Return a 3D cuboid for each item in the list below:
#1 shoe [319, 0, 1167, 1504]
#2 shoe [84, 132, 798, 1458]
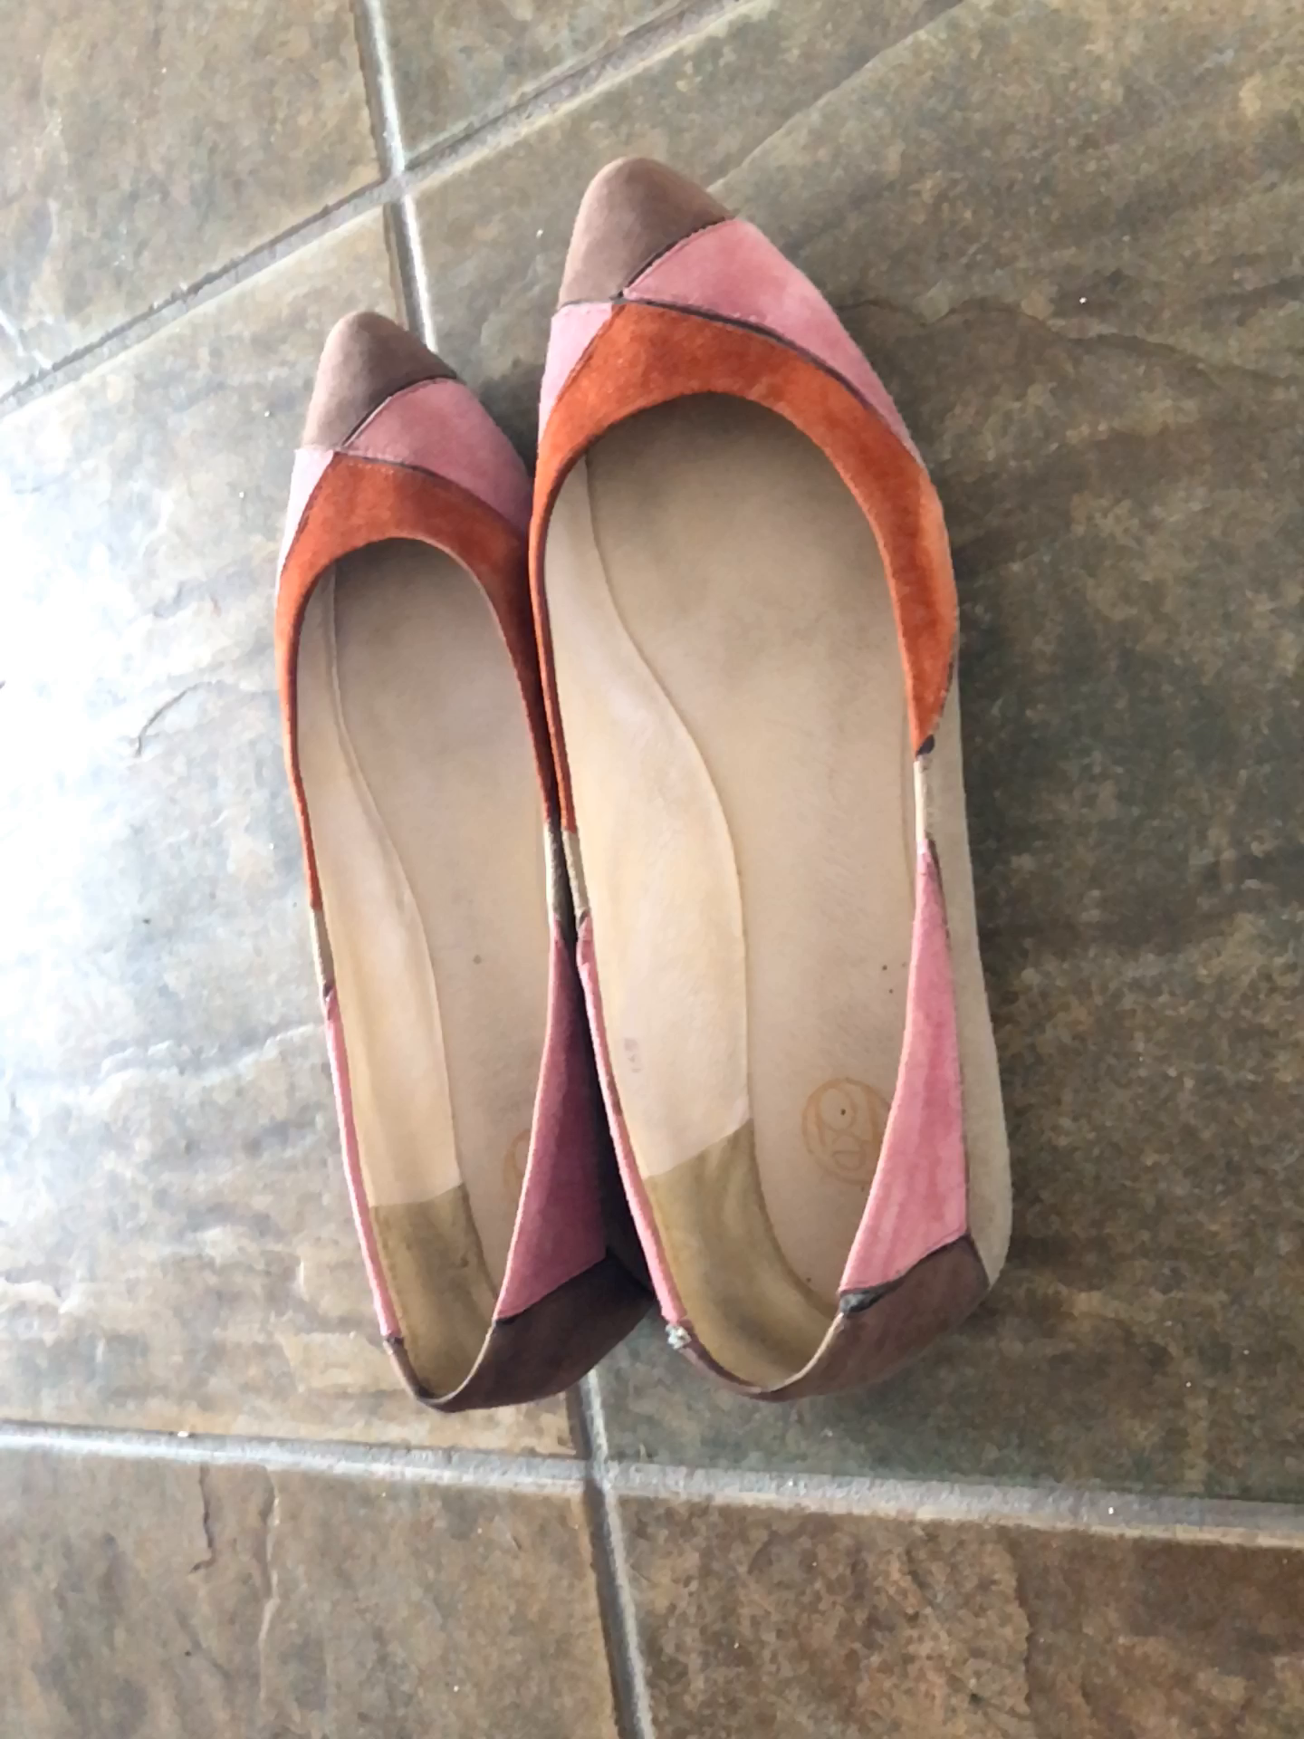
[{"bbox_3d":[0.016,-0.028,0.282,0.090,0.070,0.270,-14,85,33],"label":"shoe"},{"bbox_3d":[-0.051,-0.012,0.338,0.090,0.070,0.270,-16,84,32],"label":"shoe"}]
